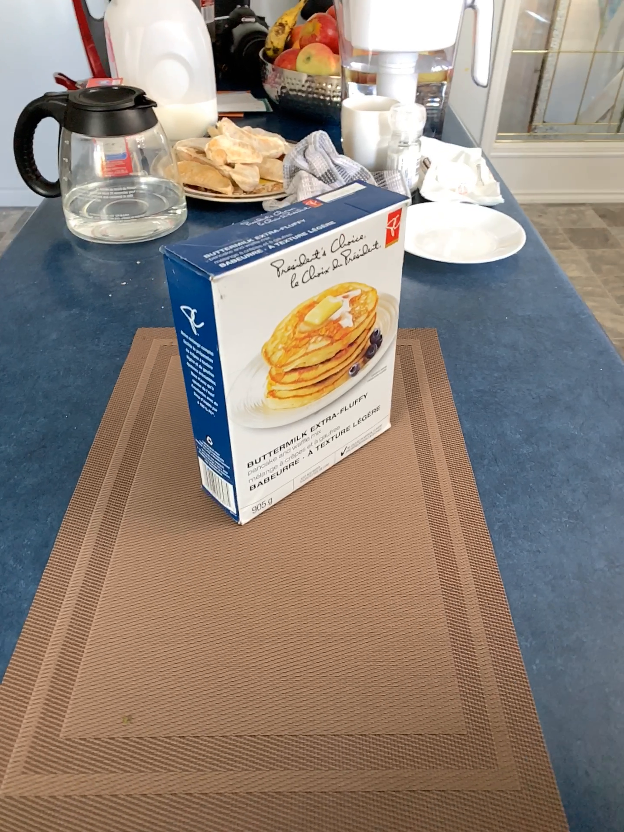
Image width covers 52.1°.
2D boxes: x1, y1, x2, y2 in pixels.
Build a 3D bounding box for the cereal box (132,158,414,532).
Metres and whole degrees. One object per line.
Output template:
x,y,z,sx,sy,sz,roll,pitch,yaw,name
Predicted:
-0.017,-0.047,0.441,0.171,0.208,0.050,-29,48,-30,cereal box
